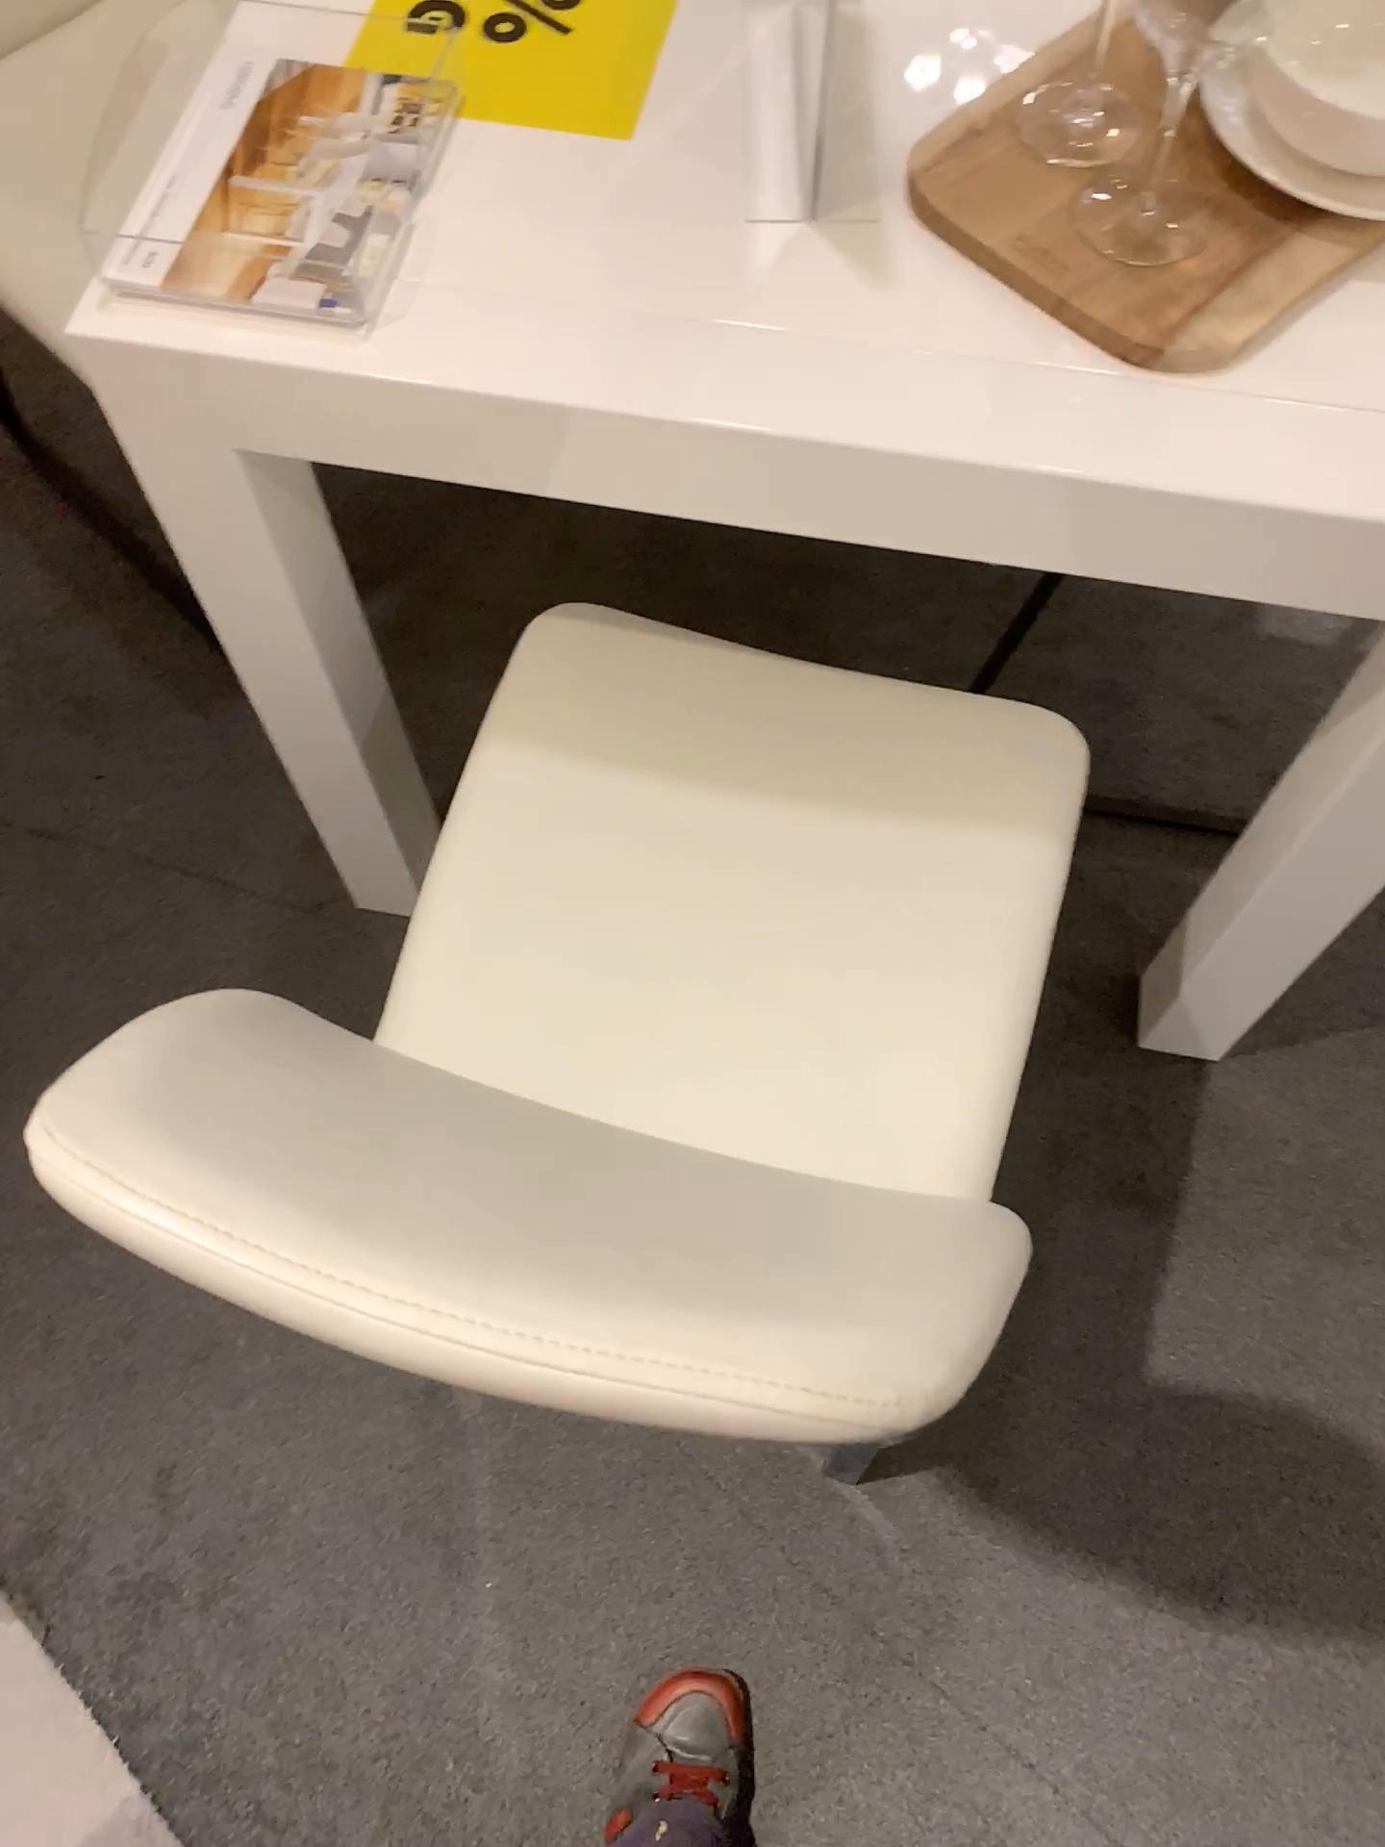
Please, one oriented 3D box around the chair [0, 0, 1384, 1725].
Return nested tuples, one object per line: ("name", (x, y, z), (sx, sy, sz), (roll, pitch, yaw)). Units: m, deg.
("chair", (0.009, 0.026, 0.893), (0.479, 0.959, 0.647), (15, 66, 8))
